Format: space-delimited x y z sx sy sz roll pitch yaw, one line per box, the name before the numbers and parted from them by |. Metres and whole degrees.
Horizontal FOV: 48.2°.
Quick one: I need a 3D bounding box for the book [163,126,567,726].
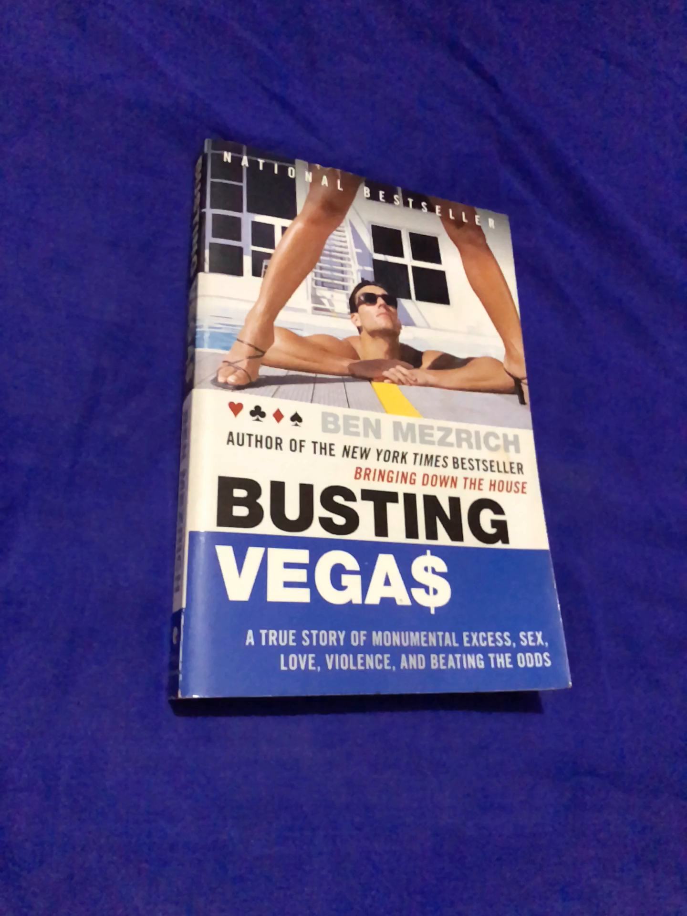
book | 0.005 -0.012 0.292 0.130 0.040 0.210 6 69 -22
